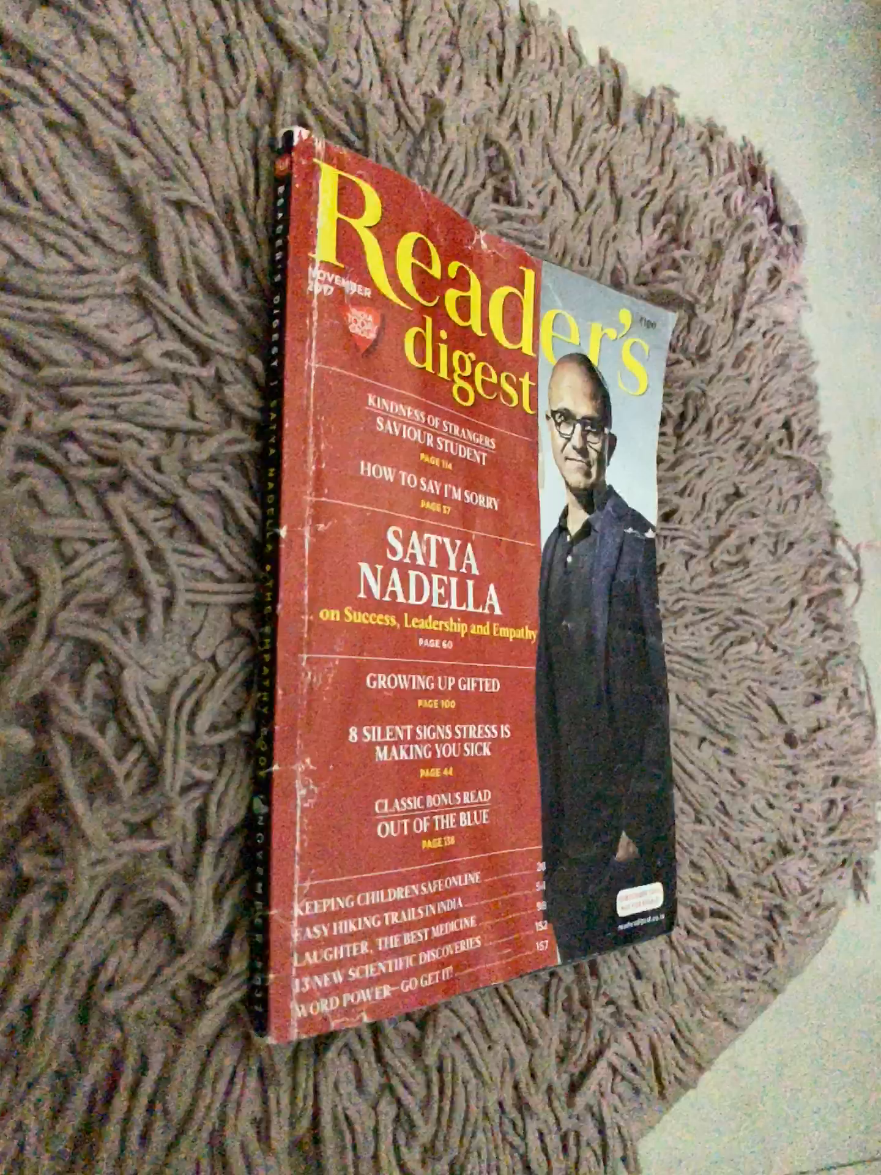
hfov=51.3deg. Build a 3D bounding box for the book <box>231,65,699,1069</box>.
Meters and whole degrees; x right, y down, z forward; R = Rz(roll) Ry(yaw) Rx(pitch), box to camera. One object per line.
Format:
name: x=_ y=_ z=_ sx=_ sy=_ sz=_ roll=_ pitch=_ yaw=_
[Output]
book: x=0.013 y=-0.005 z=0.217 sx=0.131 sy=0.020 sz=0.180 roll=5 pitch=79 yaw=-47
